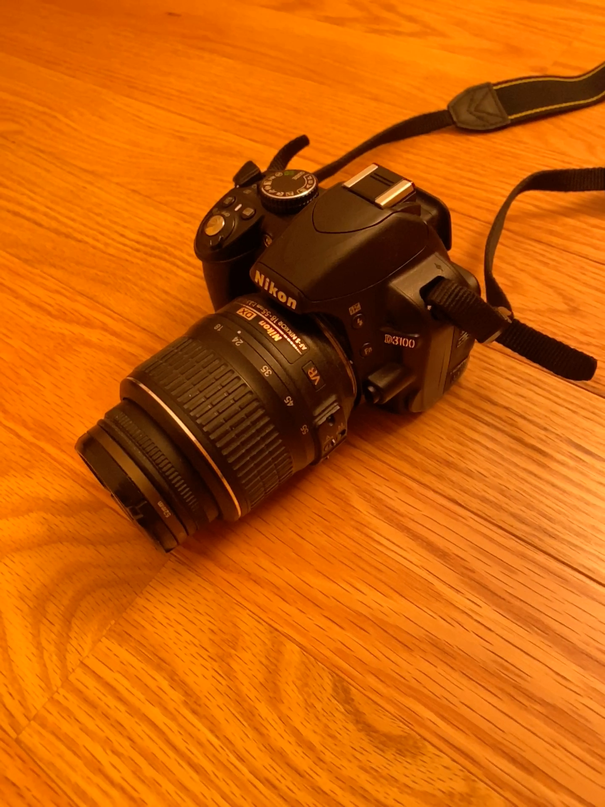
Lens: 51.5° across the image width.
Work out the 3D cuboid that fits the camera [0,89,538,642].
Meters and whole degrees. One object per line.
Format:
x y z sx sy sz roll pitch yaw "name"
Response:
-0.018 -0.025 0.253 0.130 0.099 0.160 36 65 27 "camera"
